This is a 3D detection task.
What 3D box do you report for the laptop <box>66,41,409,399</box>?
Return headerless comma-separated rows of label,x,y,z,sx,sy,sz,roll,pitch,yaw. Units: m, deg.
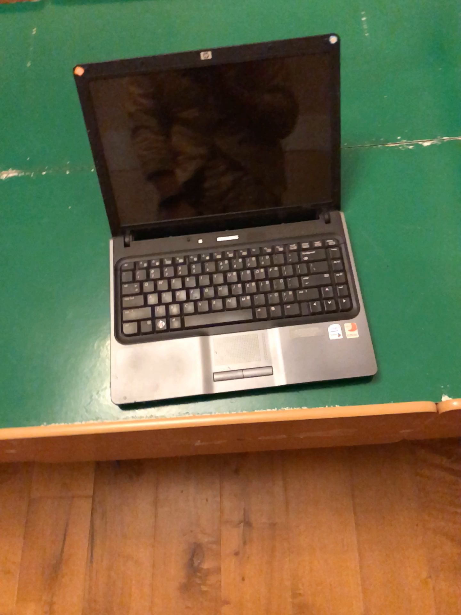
laptop,-0.006,-0.106,0.627,0.323,0.173,0.375,-6,66,1
